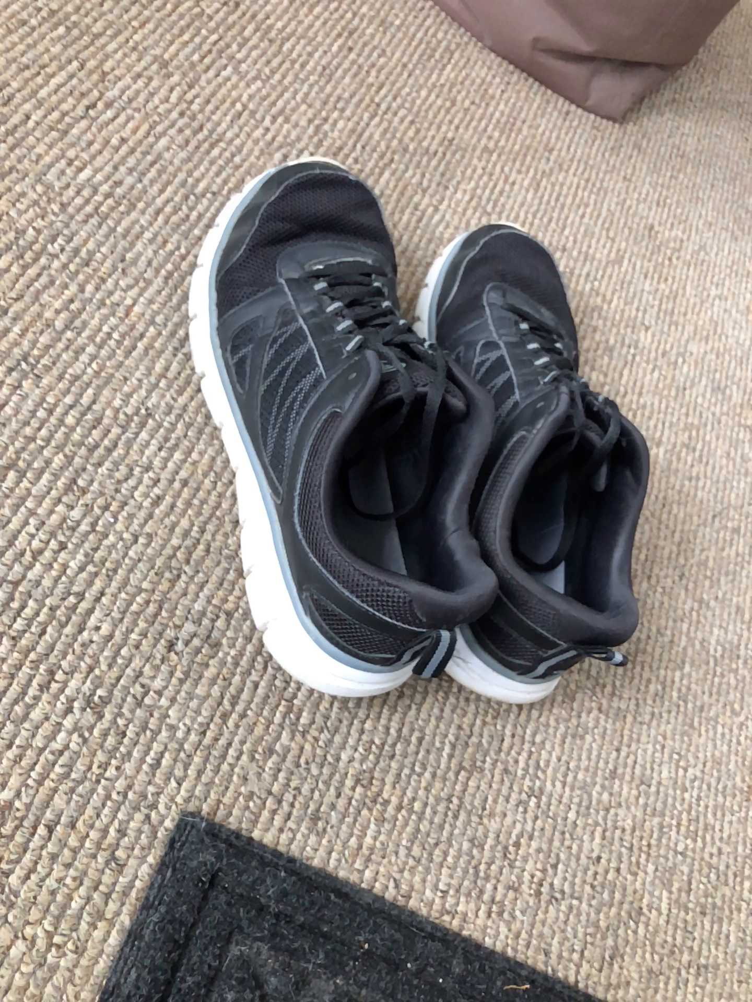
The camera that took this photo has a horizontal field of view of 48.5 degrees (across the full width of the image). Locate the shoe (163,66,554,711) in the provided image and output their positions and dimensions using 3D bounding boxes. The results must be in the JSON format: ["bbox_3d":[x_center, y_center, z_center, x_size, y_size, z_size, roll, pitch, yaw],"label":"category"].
[{"bbox_3d":[-0.022,-0.051,0.405,0.118,0.100,0.275,3,66,-31],"label":"shoe"}]

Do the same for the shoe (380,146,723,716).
[{"bbox_3d":[0.083,-0.036,0.463,0.120,0.110,0.276,14,61,-26],"label":"shoe"}]
